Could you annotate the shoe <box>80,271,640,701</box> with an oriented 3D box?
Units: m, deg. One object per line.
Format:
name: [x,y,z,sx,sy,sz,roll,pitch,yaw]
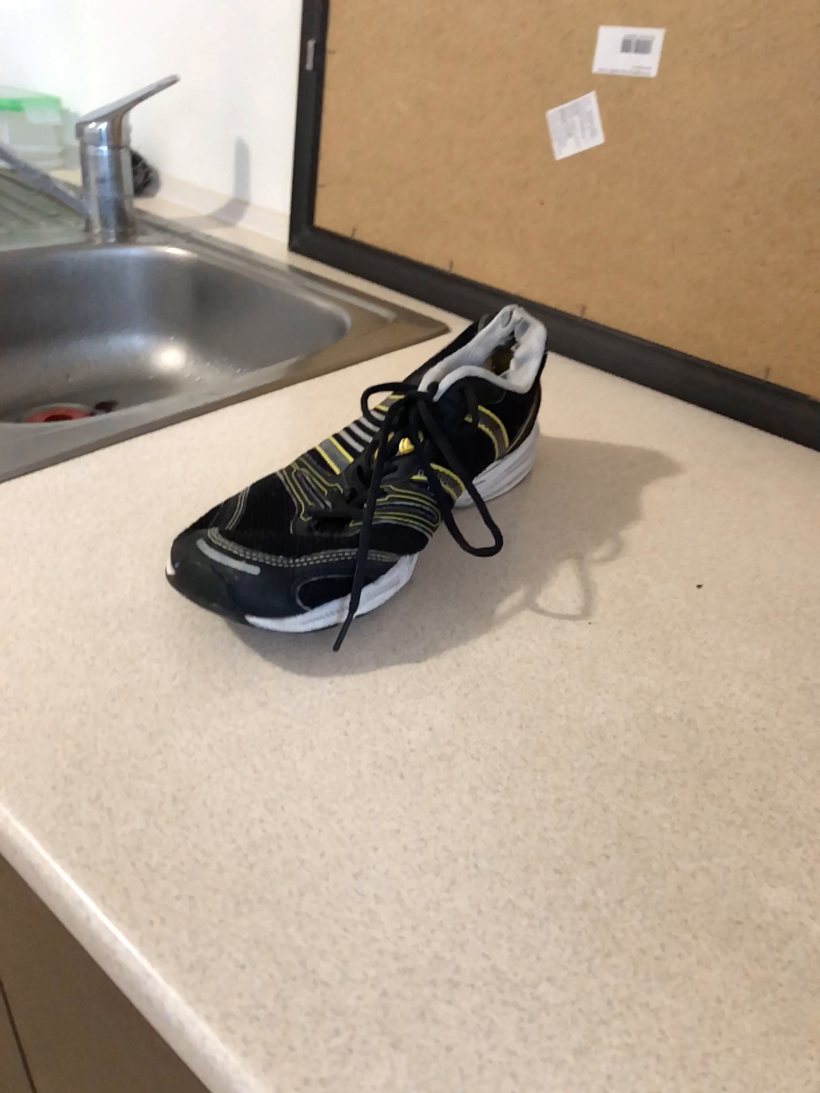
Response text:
shoe: [-0.005,-0.058,0.488,0.110,0.099,0.311,26,38,29]
